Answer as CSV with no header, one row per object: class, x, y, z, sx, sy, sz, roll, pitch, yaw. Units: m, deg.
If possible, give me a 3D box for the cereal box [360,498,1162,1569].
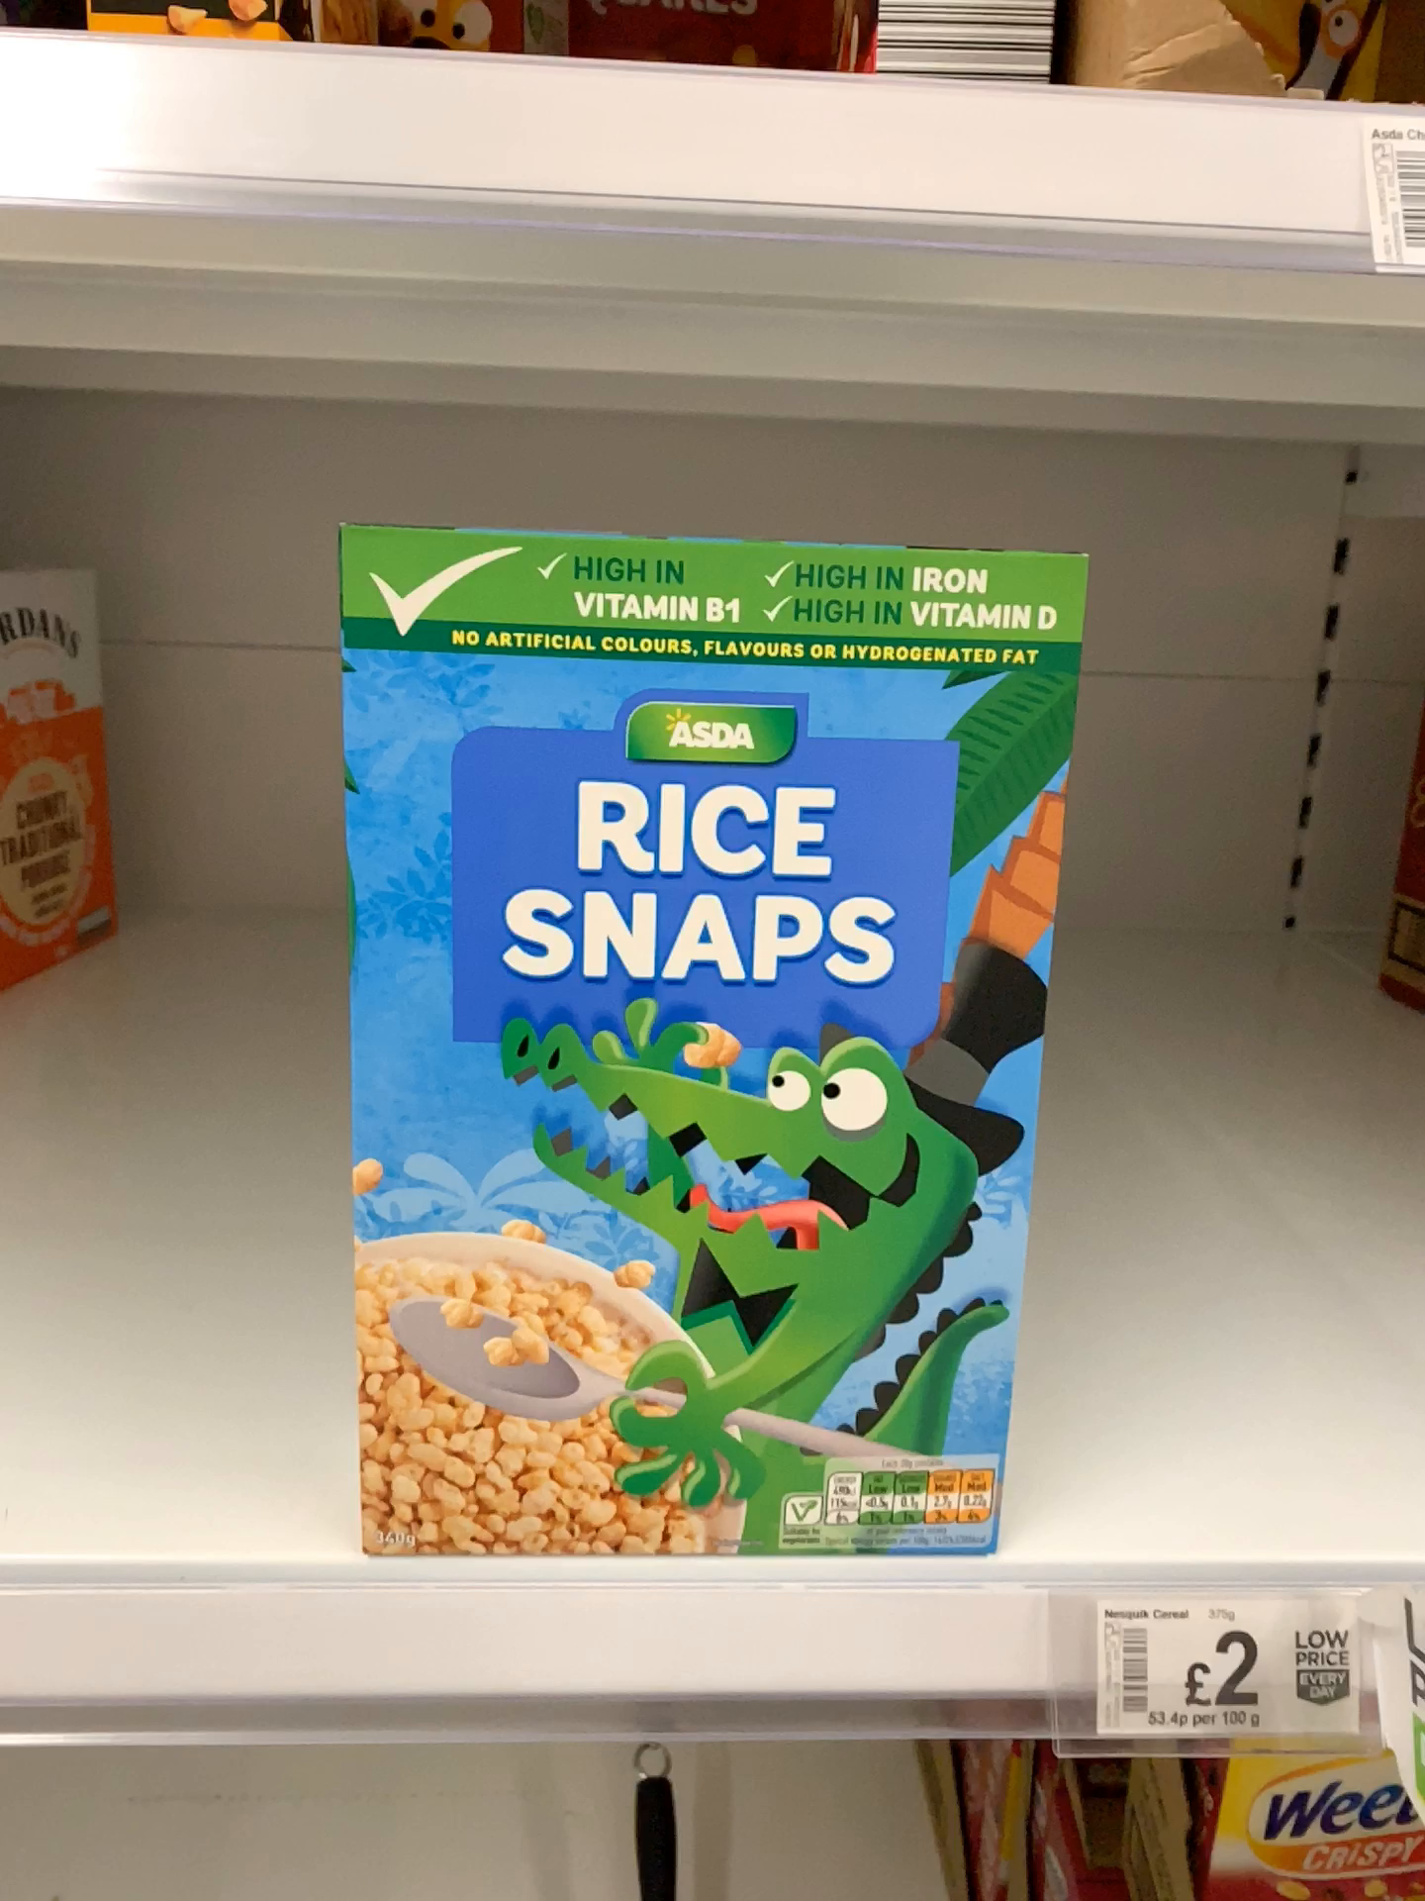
cereal box,0.006,0.027,0.418,0.190,0.288,0.070,1,15,-4
